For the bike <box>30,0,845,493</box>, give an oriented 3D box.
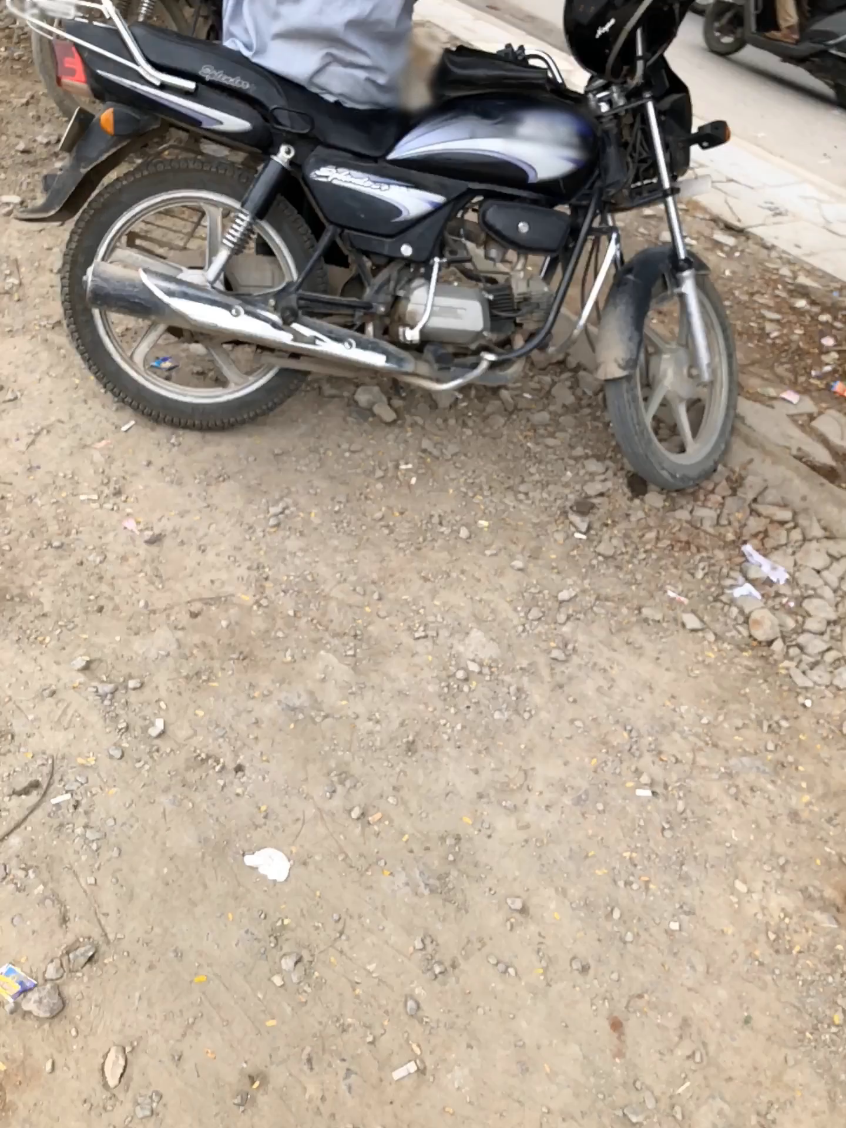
[{"bbox_3d":[0.034,-0.884,2.182,1.596,1.170,0.743,1,42,-15],"label":"bike"}]
